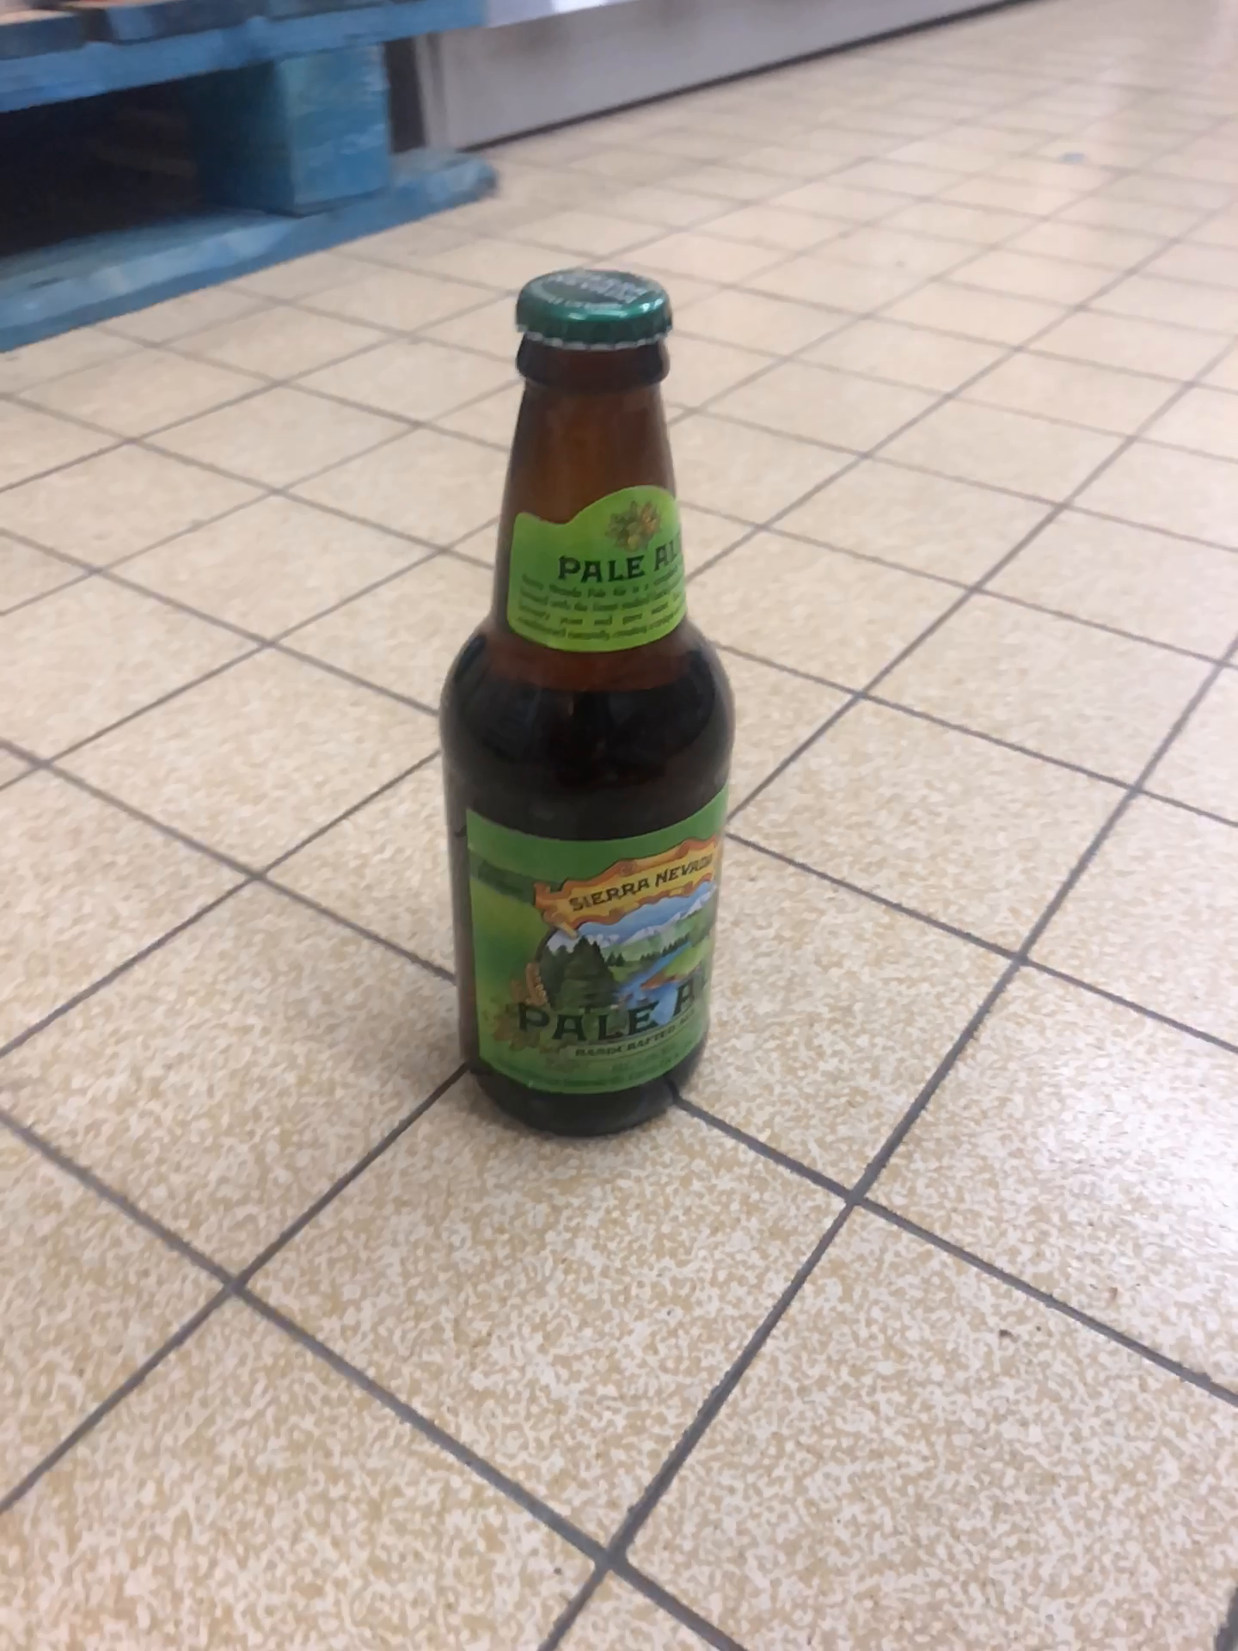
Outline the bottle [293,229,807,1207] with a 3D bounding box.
[{"bbox_3d":[-0.014,-0.016,0.294,0.060,0.189,0.070,-24,43,-29],"label":"bottle"}]
